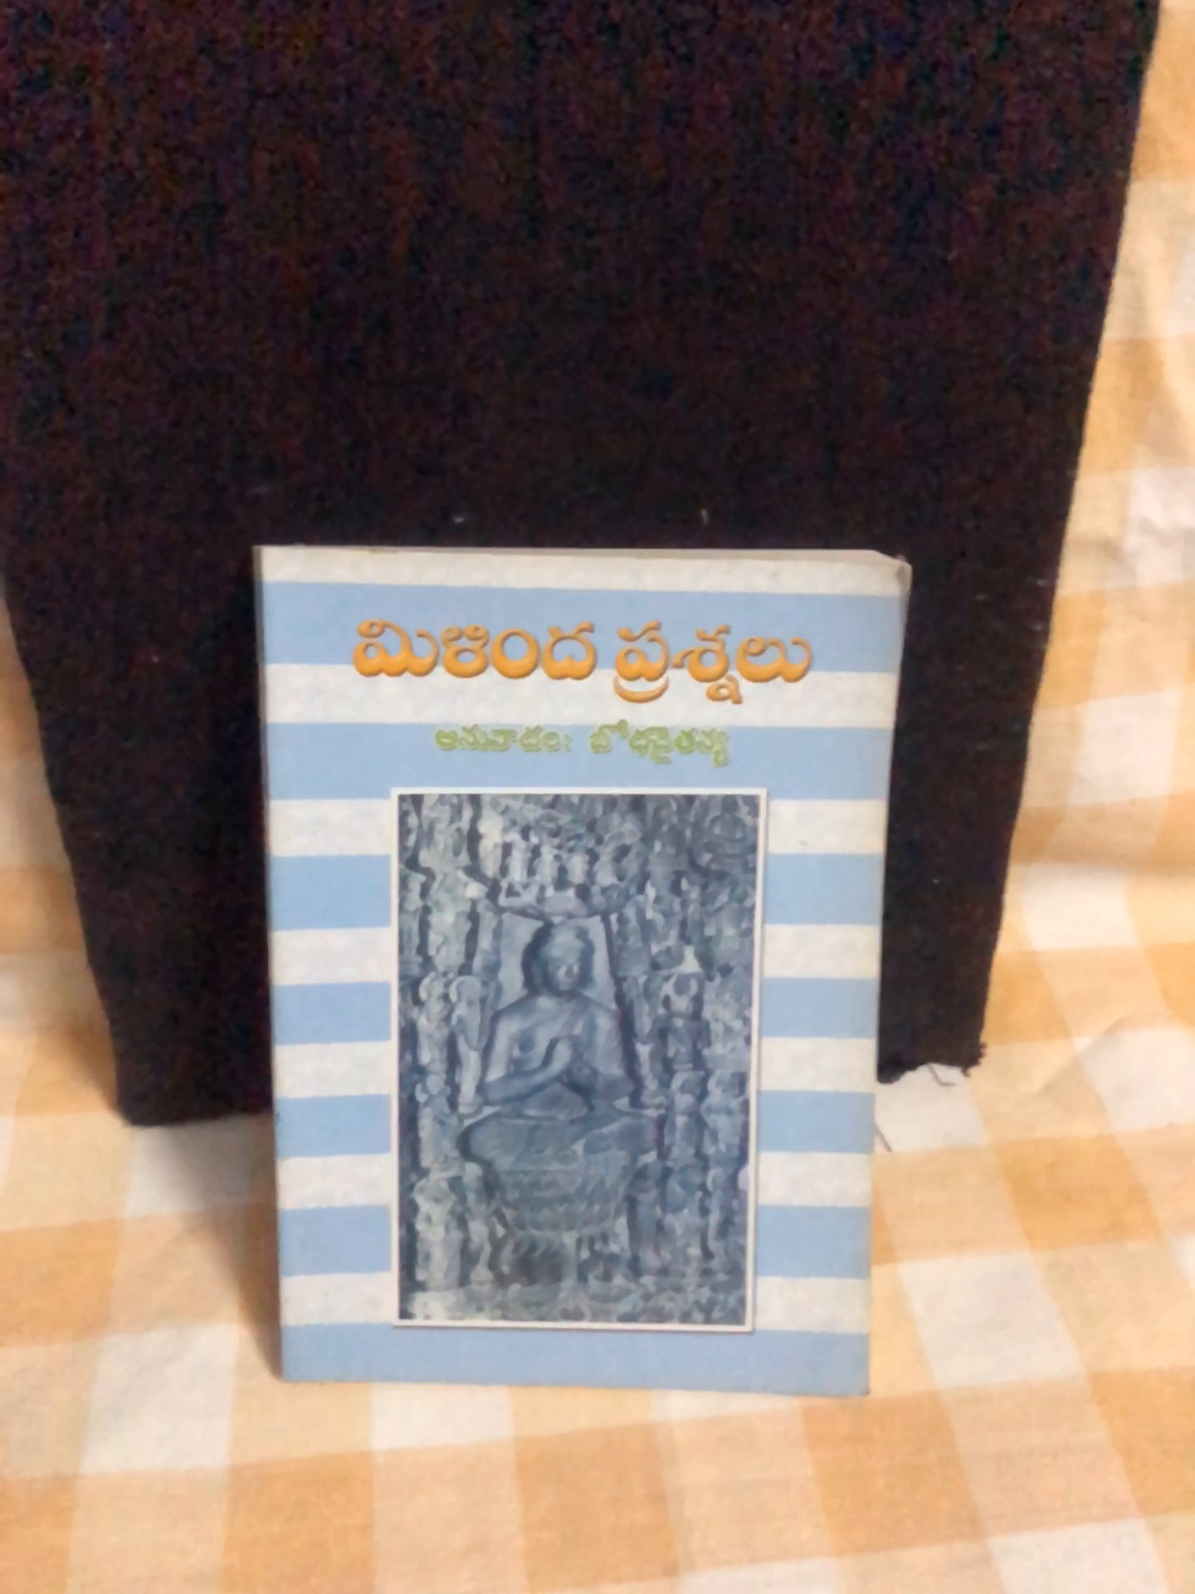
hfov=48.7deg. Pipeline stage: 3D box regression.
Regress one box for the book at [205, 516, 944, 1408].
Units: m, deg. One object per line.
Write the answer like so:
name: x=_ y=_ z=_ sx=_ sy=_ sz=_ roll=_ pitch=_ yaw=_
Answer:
book: x=-0.007 y=0.041 z=0.319 sx=0.160 sy=0.210 sz=0.030 roll=1 pitch=10 yaw=0
